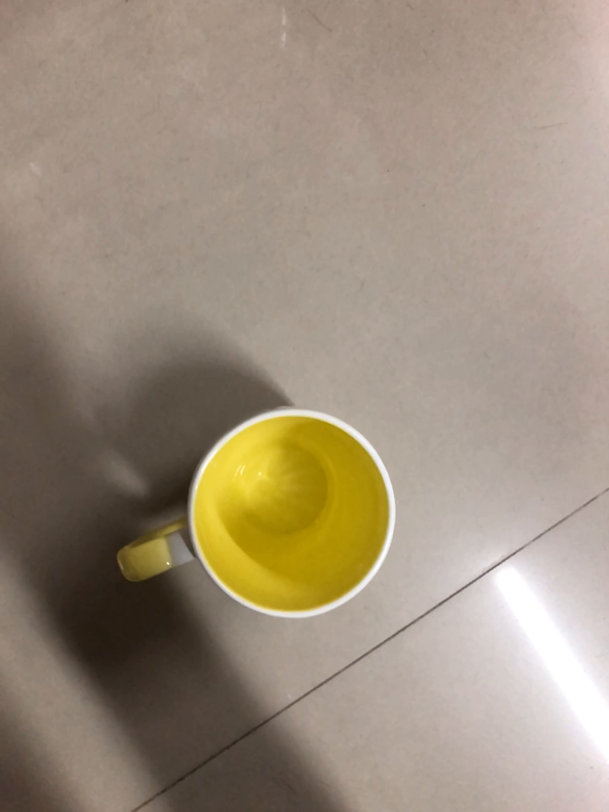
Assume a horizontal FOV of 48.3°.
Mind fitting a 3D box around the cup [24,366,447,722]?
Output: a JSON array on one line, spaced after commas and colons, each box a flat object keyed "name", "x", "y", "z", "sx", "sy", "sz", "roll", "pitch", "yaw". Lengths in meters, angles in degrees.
[{"name": "cup", "x": -0.024, "y": 0.047, "z": 0.266, "sx": 0.120, "sy": 0.080, "sz": 0.080, "roll": -20, "pitch": 88, "yaw": -4}]
